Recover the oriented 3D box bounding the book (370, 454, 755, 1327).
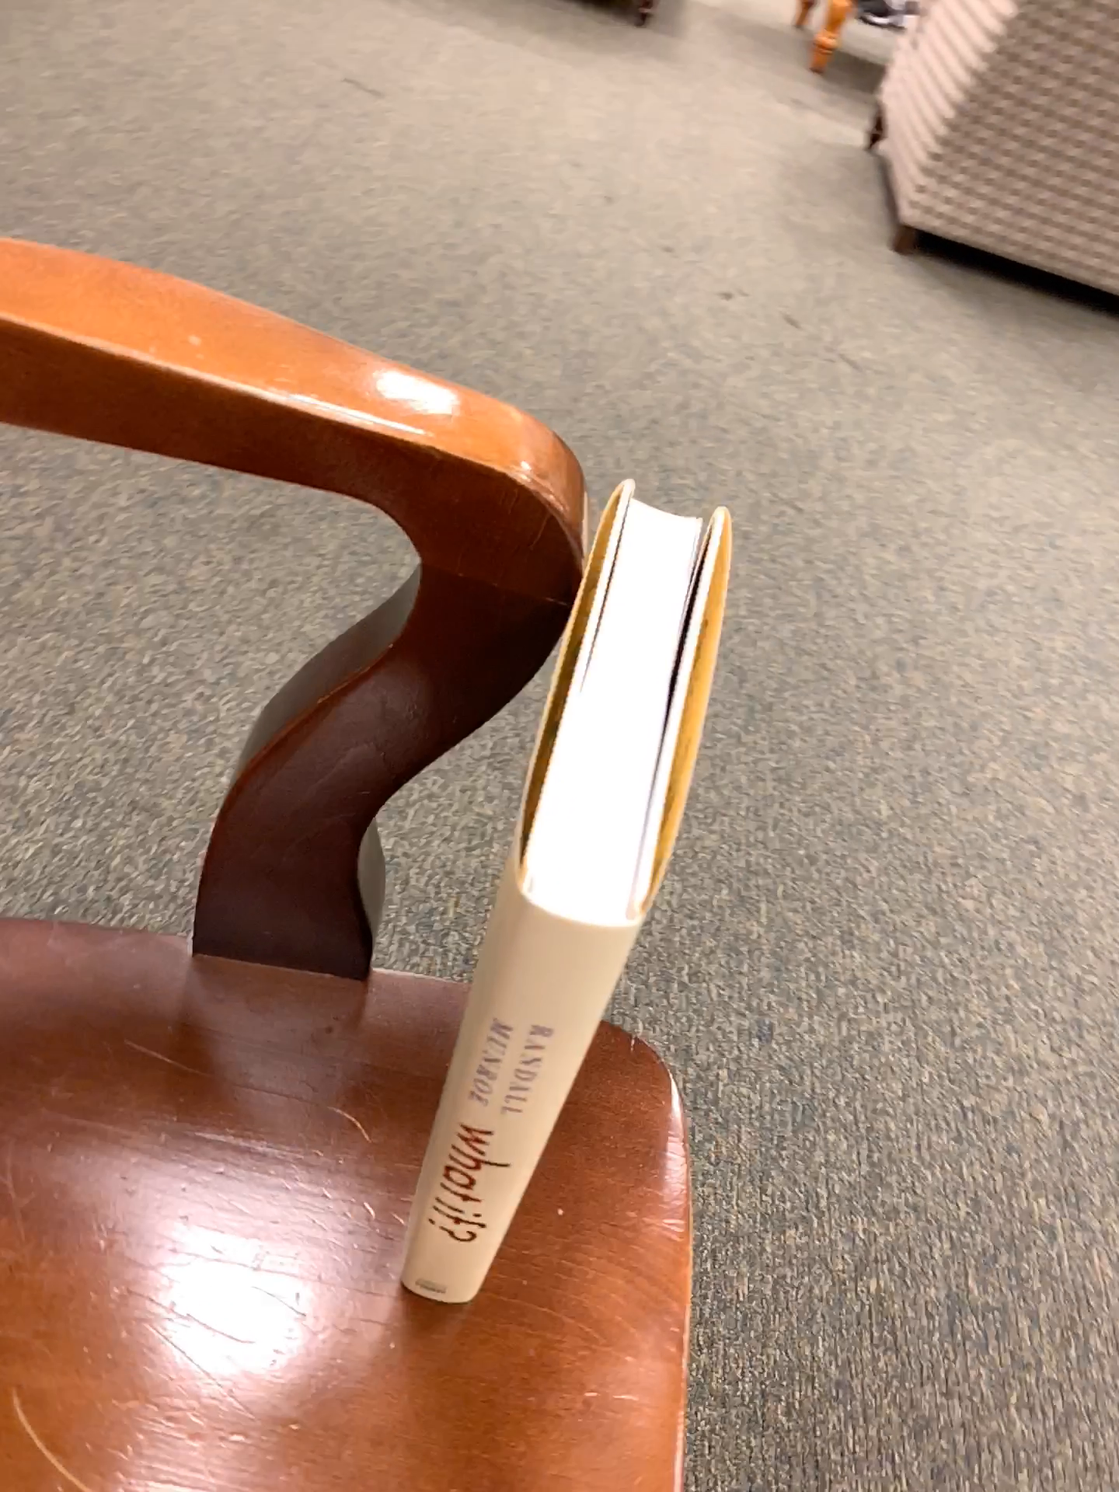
[{"bbox_3d":[-0.002,0.056,0.394,0.050,0.239,0.188,16,44,-1],"label":"book"}]
